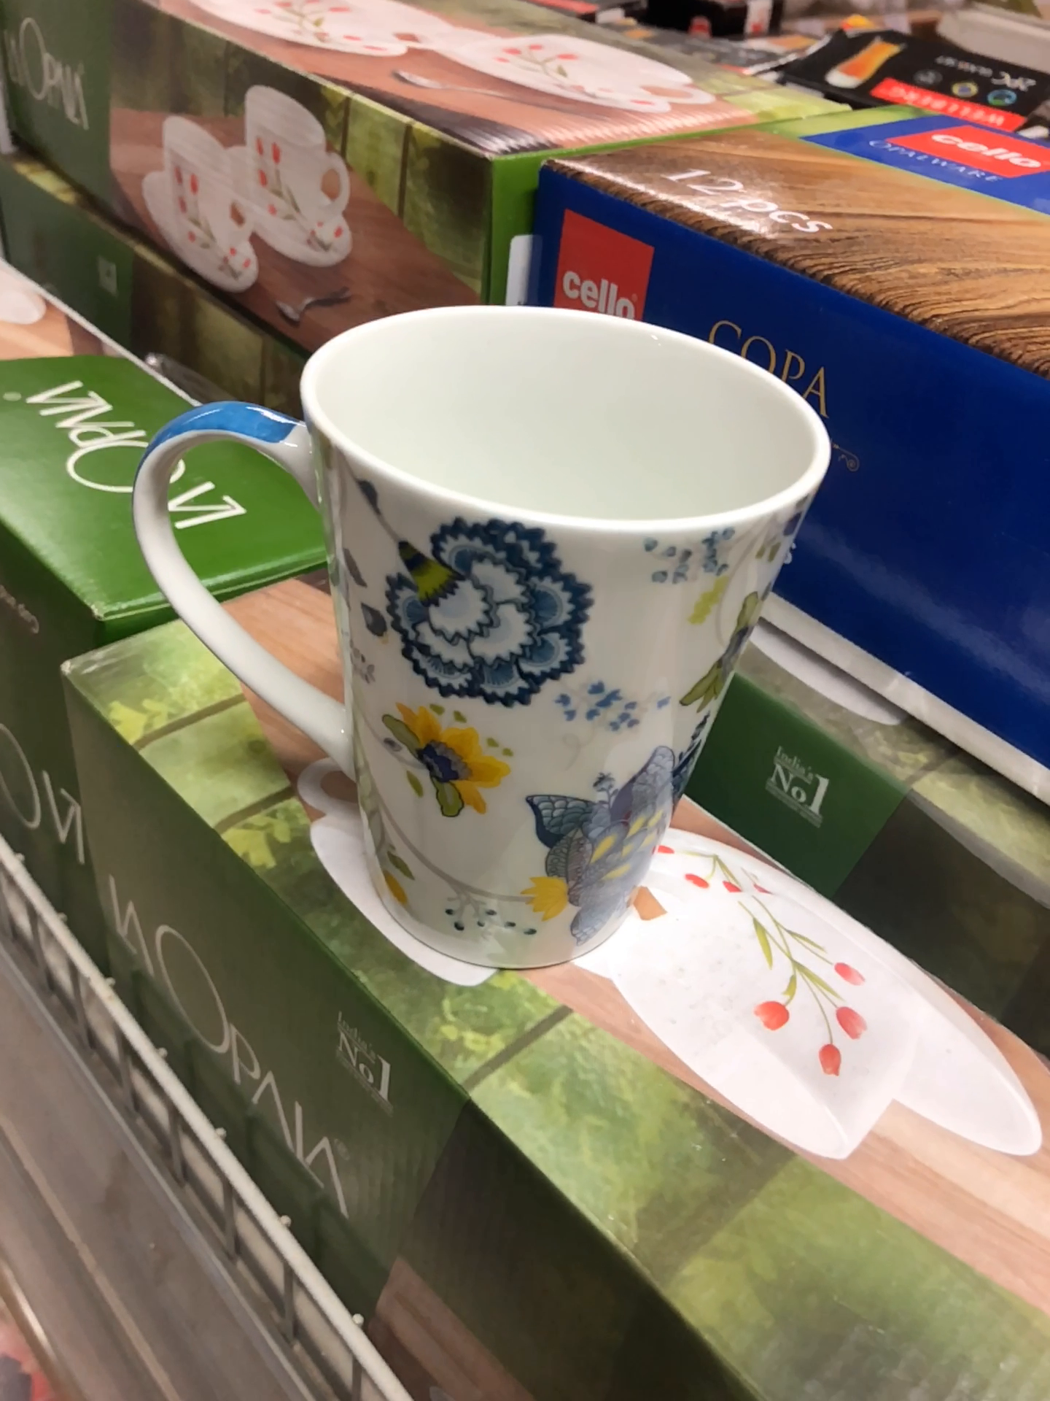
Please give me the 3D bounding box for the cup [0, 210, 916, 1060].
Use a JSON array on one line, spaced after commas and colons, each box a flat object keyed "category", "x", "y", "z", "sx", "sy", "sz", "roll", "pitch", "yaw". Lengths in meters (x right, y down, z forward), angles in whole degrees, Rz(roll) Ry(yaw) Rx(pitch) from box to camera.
[{"category": "cup", "x": -0.010, "y": -0.015, "z": 0.183, "sx": 0.110, "sy": 0.079, "sz": 0.070, "roll": 18, "pitch": 41, "yaw": 14}]
